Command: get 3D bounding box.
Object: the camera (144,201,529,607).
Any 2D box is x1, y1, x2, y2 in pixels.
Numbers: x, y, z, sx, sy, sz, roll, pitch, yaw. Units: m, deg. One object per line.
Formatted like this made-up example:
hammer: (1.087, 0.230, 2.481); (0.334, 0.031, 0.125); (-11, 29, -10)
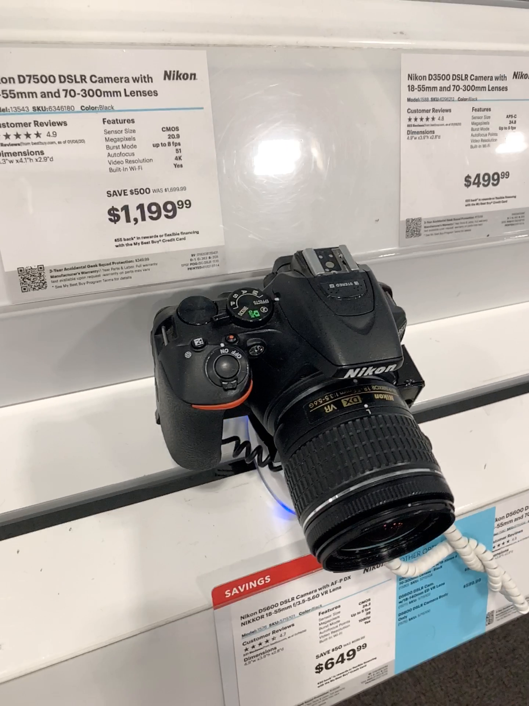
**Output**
camera: (0.026, 0.014, 0.231); (0.130, 0.090, 0.120); (-9, 55, -19)
